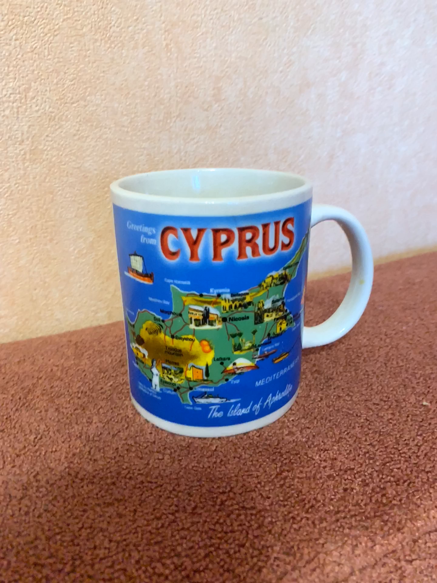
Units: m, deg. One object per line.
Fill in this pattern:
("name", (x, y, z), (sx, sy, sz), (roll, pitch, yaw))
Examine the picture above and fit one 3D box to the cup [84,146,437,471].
("cup", (0.015, -0.006, 0.193), (0.118, 0.091, 0.085), (-9, 25, -18))
